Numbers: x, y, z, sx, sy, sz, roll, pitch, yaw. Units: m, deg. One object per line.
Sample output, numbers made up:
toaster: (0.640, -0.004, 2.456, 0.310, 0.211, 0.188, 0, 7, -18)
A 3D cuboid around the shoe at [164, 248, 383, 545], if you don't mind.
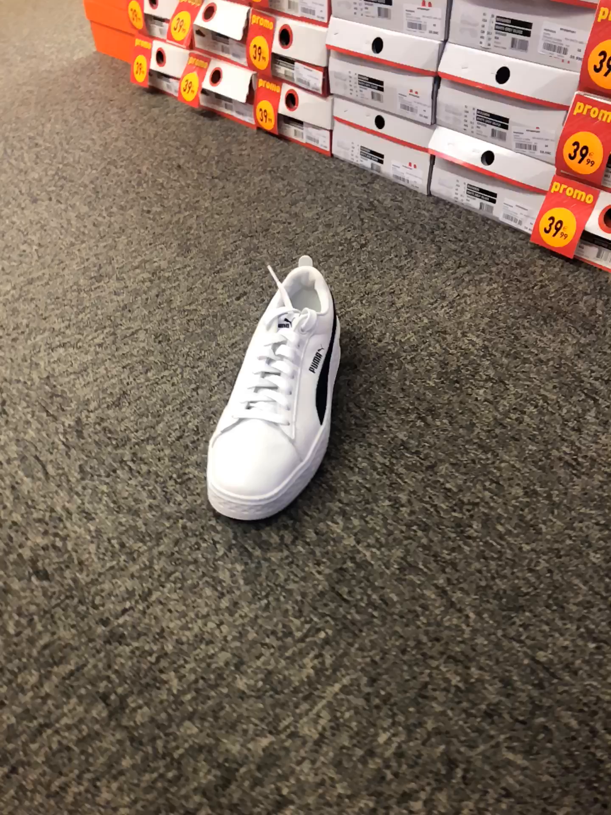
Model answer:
shoe: (-0.013, -0.028, 0.631, 0.110, 0.090, 0.292, 10, 47, 13)
